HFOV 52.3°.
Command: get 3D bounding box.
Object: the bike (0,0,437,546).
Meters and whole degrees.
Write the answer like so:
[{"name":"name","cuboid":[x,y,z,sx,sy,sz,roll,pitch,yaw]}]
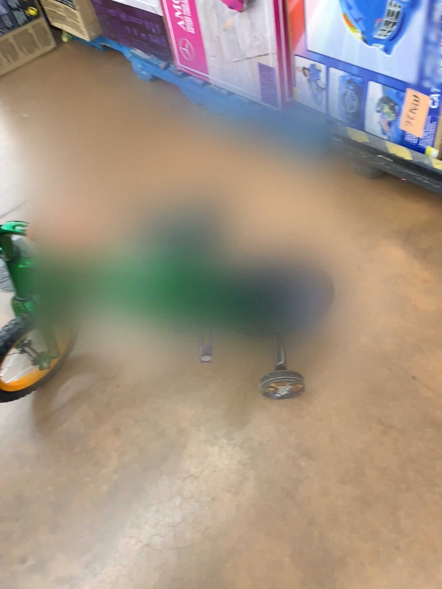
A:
[{"name":"bike","cuboid":[-0.162,-0.012,0.838,0.850,0.733,0.491,-16,51,-4]}]
